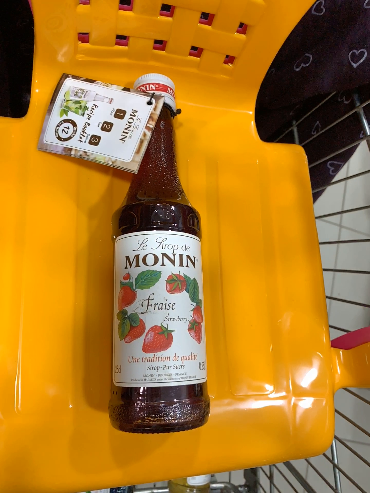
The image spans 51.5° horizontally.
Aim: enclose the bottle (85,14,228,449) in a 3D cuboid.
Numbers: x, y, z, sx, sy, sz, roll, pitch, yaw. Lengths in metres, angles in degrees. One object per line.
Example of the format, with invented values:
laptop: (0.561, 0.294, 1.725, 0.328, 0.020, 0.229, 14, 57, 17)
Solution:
bottle: (-0.023, -0.017, 0.226, 0.060, 0.060, 0.230, 2, 72, -16)
